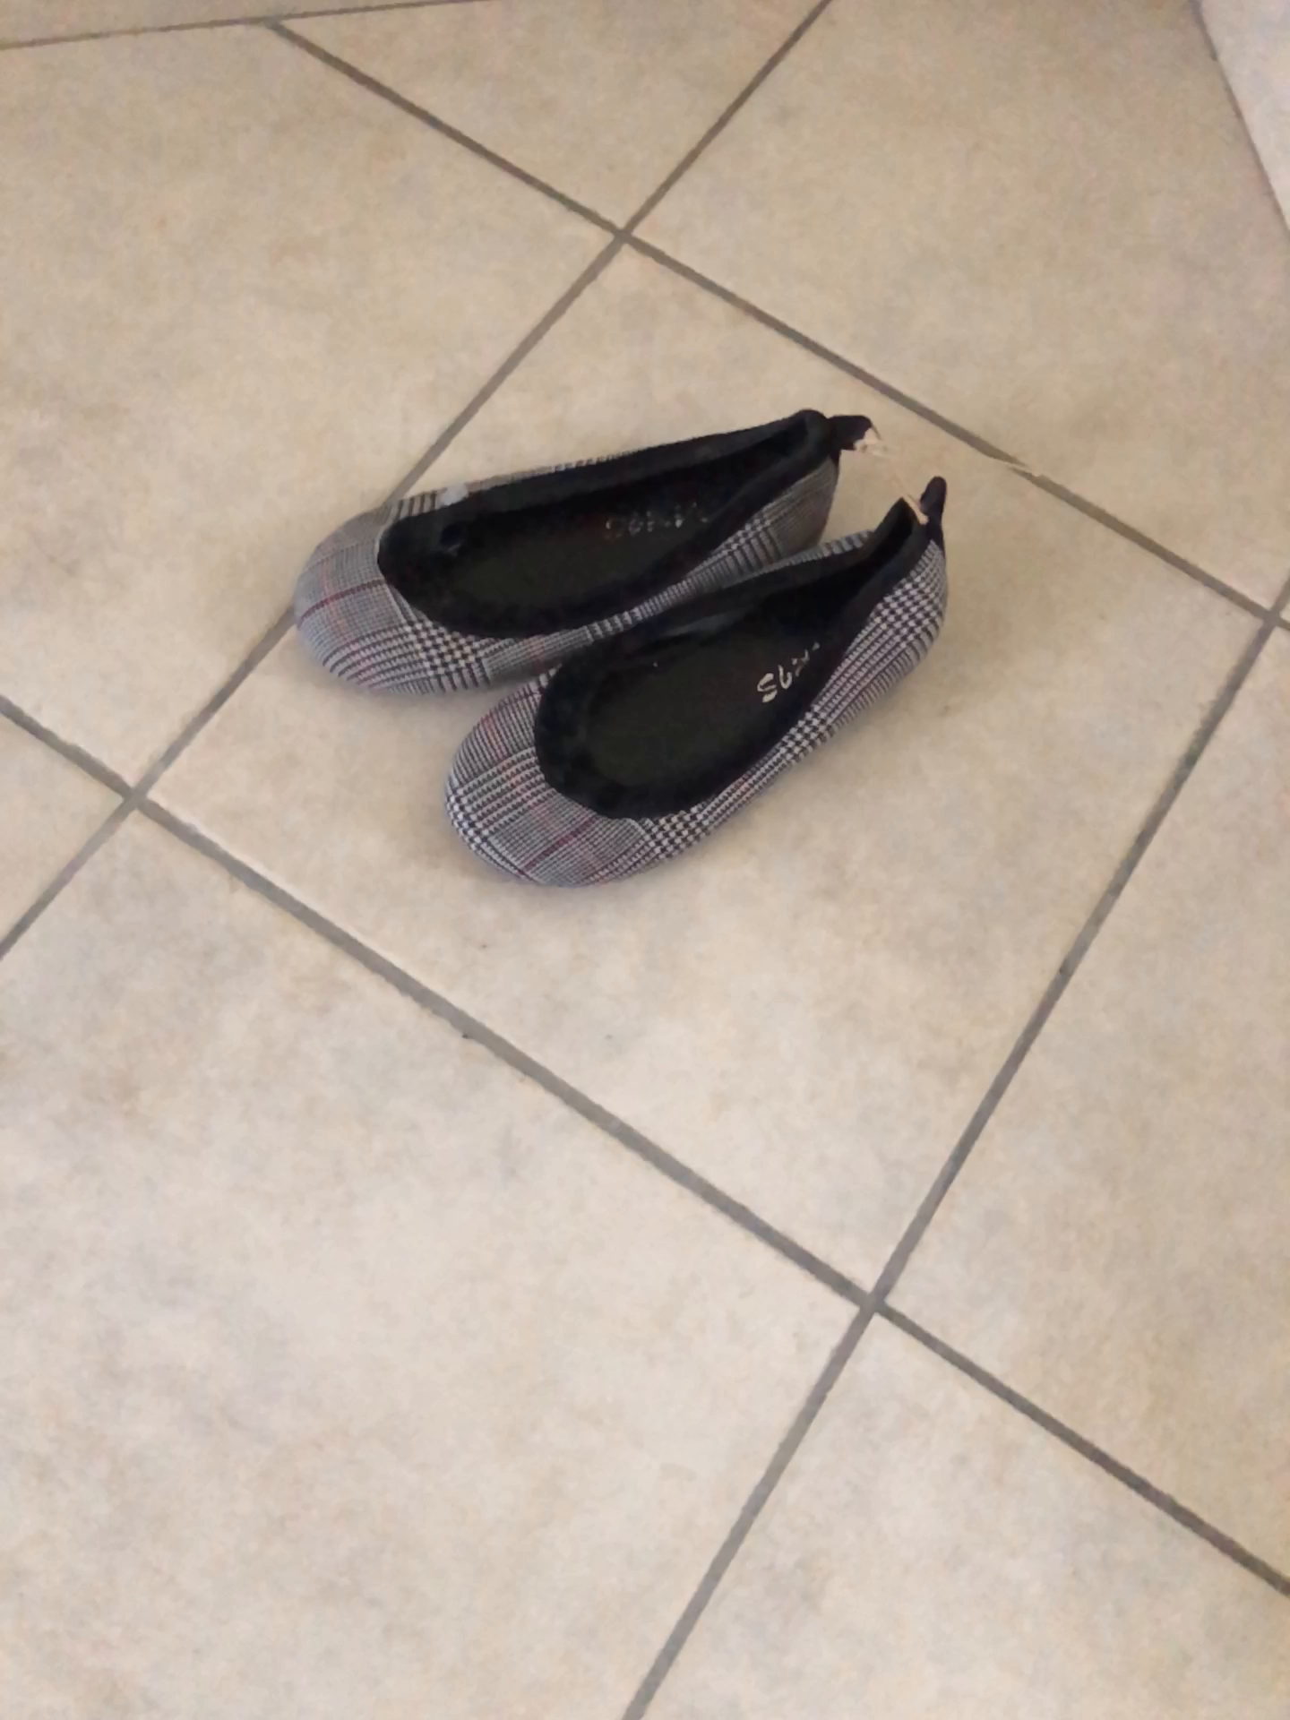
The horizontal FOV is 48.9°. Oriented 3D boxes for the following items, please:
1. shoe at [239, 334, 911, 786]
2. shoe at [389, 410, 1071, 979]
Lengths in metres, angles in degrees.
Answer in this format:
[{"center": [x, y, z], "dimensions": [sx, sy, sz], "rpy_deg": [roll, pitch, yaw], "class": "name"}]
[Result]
[{"center": [-0.025, -0.108, 0.513], "dimensions": [0.210, 0.070, 0.090], "rpy_deg": [-16, 73, -9], "class": "shoe"}, {"center": [0.029, -0.058, 0.497], "dimensions": [0.210, 0.070, 0.090], "rpy_deg": [-31, 76, -13], "class": "shoe"}]
